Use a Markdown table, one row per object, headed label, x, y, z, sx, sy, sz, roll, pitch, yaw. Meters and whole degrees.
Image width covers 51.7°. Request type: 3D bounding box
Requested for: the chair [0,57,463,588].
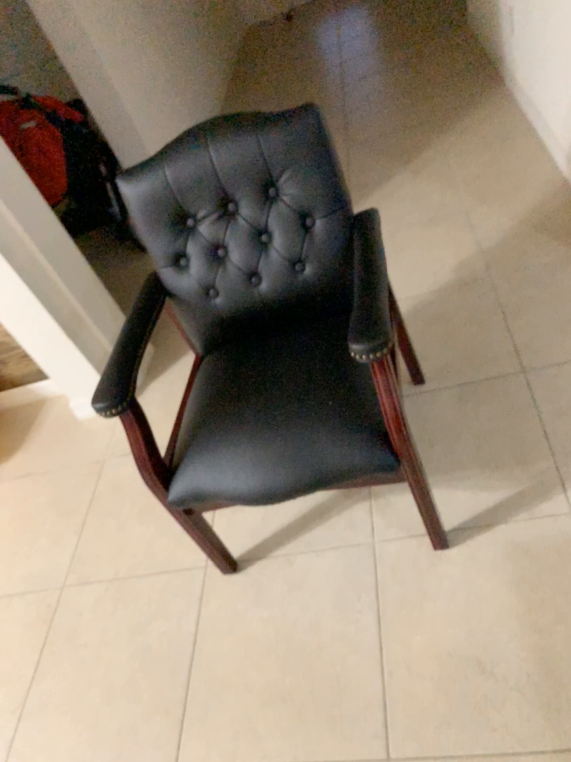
| label | x | y | z | sx | sy | sz | roll | pitch | yaw |
| --- | --- | --- | --- | --- | --- | --- | --- | --- | --- |
| chair | -0.031 | -0.072 | 1.378 | 0.631 | 0.908 | 0.661 | -13 | 42 | 17 |
